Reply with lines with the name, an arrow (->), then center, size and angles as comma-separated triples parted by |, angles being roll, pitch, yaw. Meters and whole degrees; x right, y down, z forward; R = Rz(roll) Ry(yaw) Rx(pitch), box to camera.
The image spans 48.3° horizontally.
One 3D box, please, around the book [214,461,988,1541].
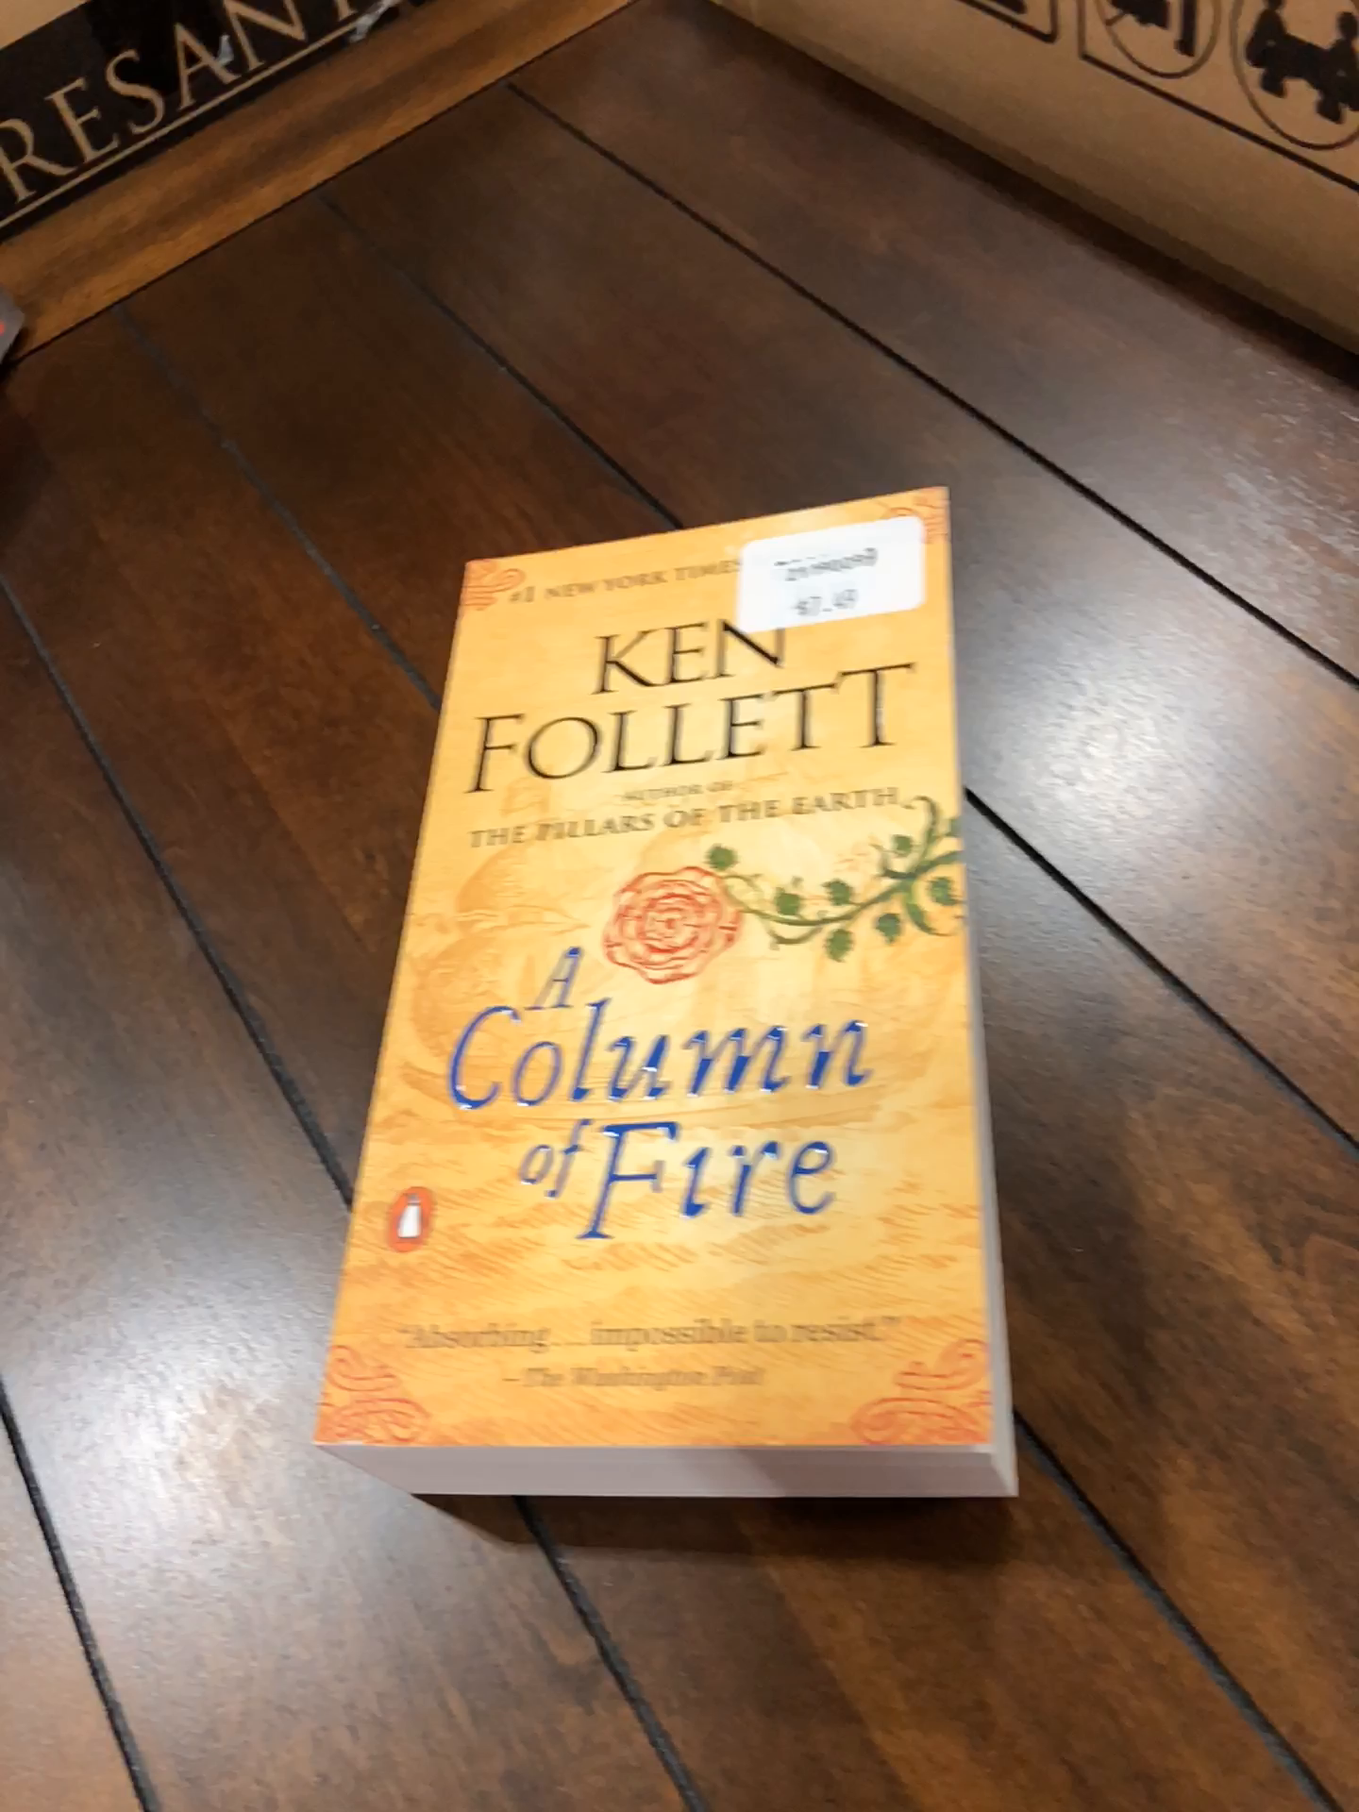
book -> -0.005, 0.008, 0.280 | 0.110, 0.040, 0.195 | -4, 57, 13
